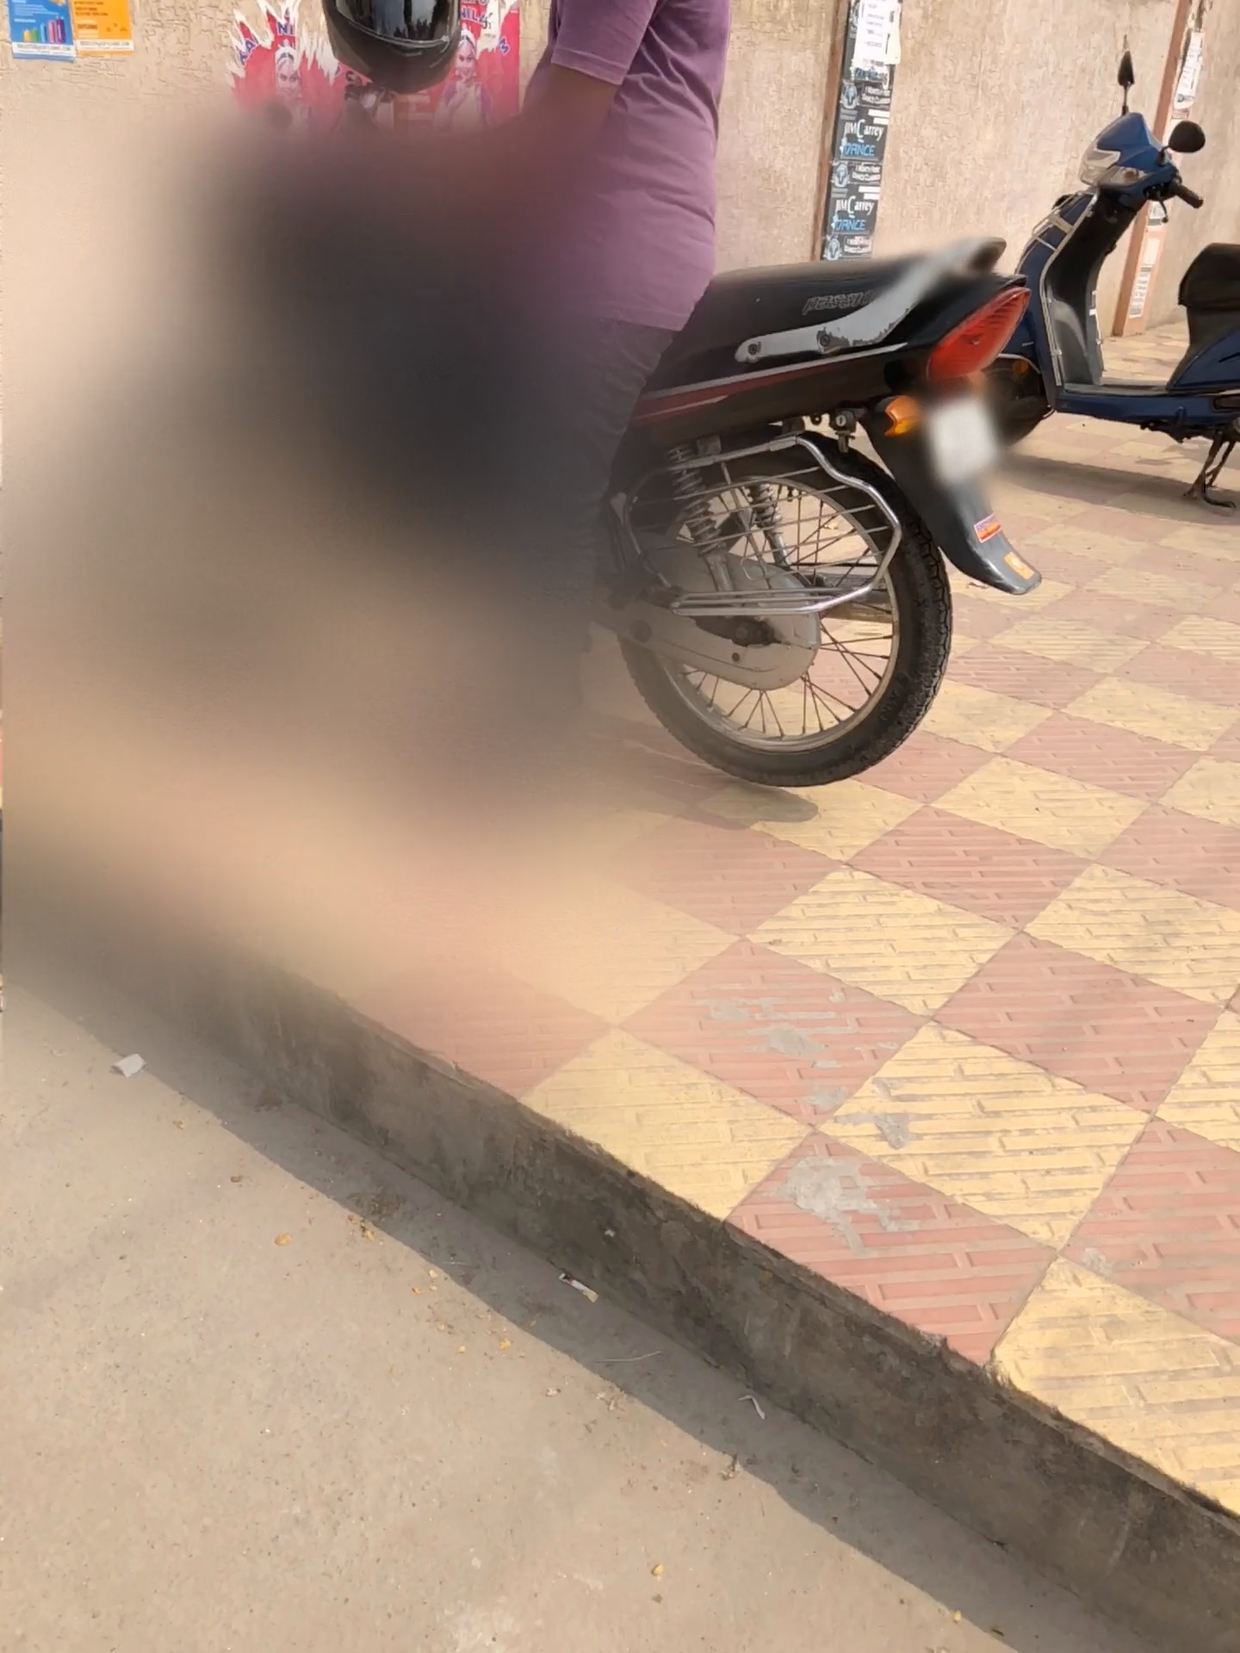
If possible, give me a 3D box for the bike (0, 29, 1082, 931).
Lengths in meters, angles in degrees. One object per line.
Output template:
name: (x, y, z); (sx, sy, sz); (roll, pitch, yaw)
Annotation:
bike: (-0.297, -0.680, 2.318); (1.720, 1.066, 0.897); (13, 29, 19)
